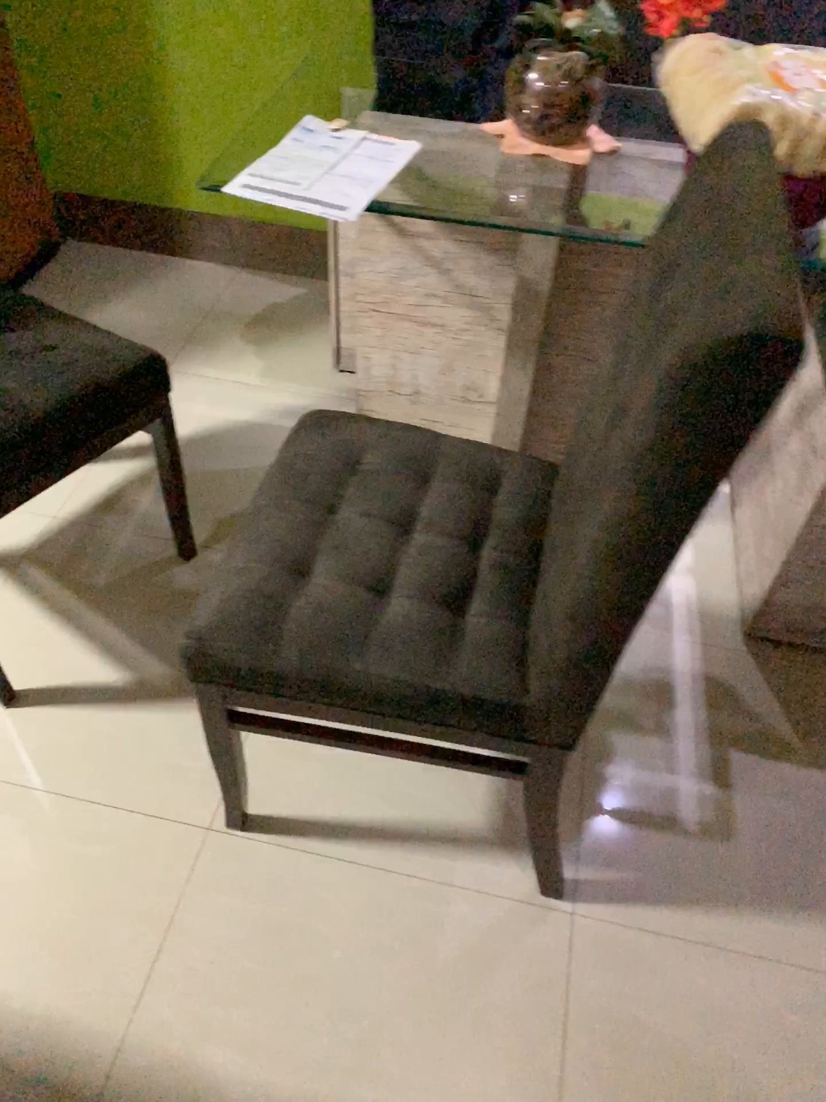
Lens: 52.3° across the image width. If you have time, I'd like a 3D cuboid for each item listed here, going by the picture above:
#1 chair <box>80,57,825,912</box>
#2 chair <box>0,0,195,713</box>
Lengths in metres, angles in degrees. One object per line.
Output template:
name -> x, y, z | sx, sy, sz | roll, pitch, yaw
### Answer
chair -> 0.047, -0.026, 1.154 | 0.570, 0.971, 0.525 | 11, 46, 7
chair -> -0.804, -0.325, 1.374 | 0.571, 0.981, 0.494 | 27, 49, 21
